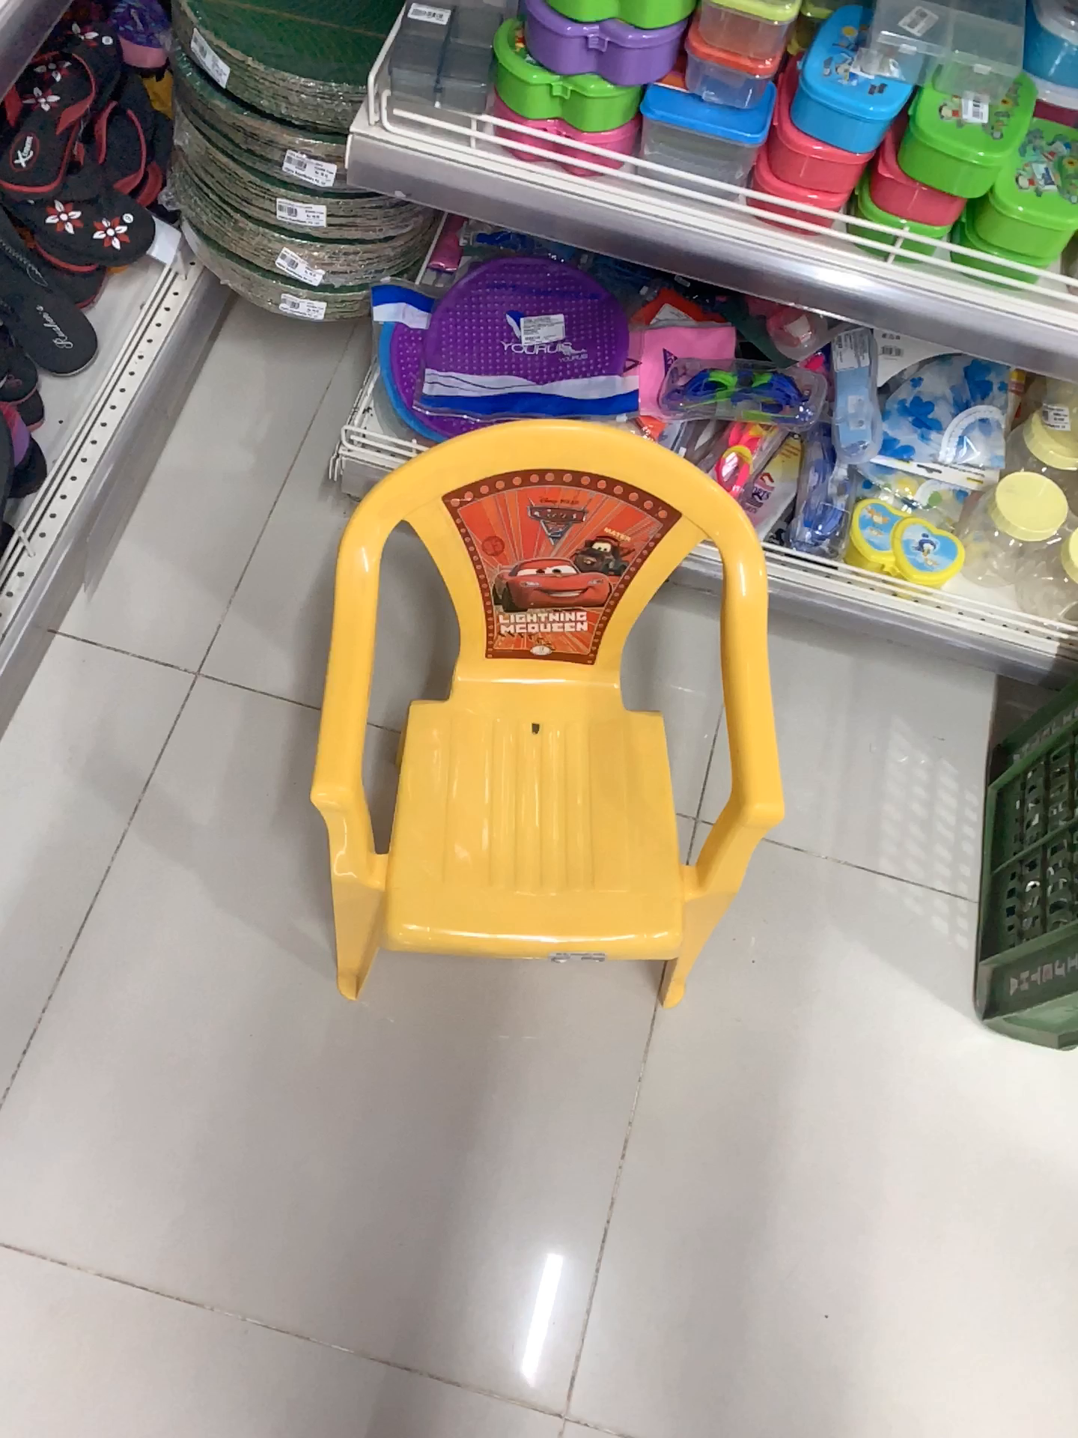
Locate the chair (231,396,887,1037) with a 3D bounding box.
[{"bbox_3d":[-0.003,0.047,0.949,0.390,0.500,0.370,3,66,-4],"label":"chair"}]
